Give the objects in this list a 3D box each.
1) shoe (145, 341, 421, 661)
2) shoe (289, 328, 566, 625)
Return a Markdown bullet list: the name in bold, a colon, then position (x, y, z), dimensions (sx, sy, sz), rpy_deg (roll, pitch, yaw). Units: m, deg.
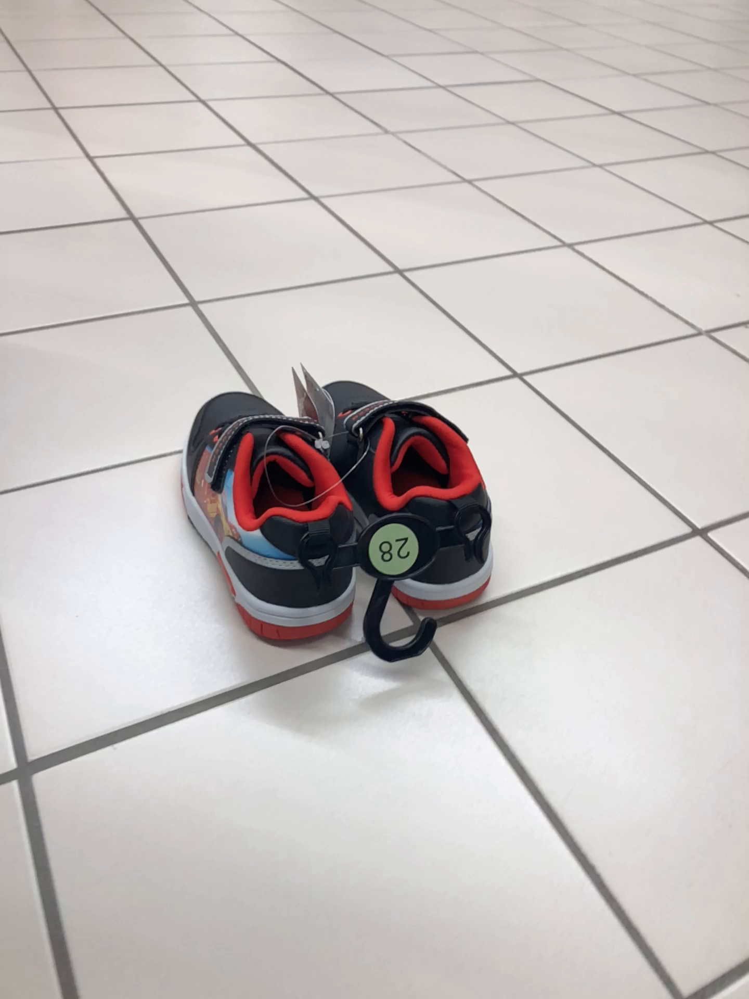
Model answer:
- **shoe**: position (-0.062, -0.013, 0.476), dimensions (0.094, 0.053, 0.207), rpy_deg (-12, 42, -20)
- **shoe**: position (0.020, -0.026, 0.499), dimensions (0.080, 0.053, 0.210), rpy_deg (-12, 42, -20)
